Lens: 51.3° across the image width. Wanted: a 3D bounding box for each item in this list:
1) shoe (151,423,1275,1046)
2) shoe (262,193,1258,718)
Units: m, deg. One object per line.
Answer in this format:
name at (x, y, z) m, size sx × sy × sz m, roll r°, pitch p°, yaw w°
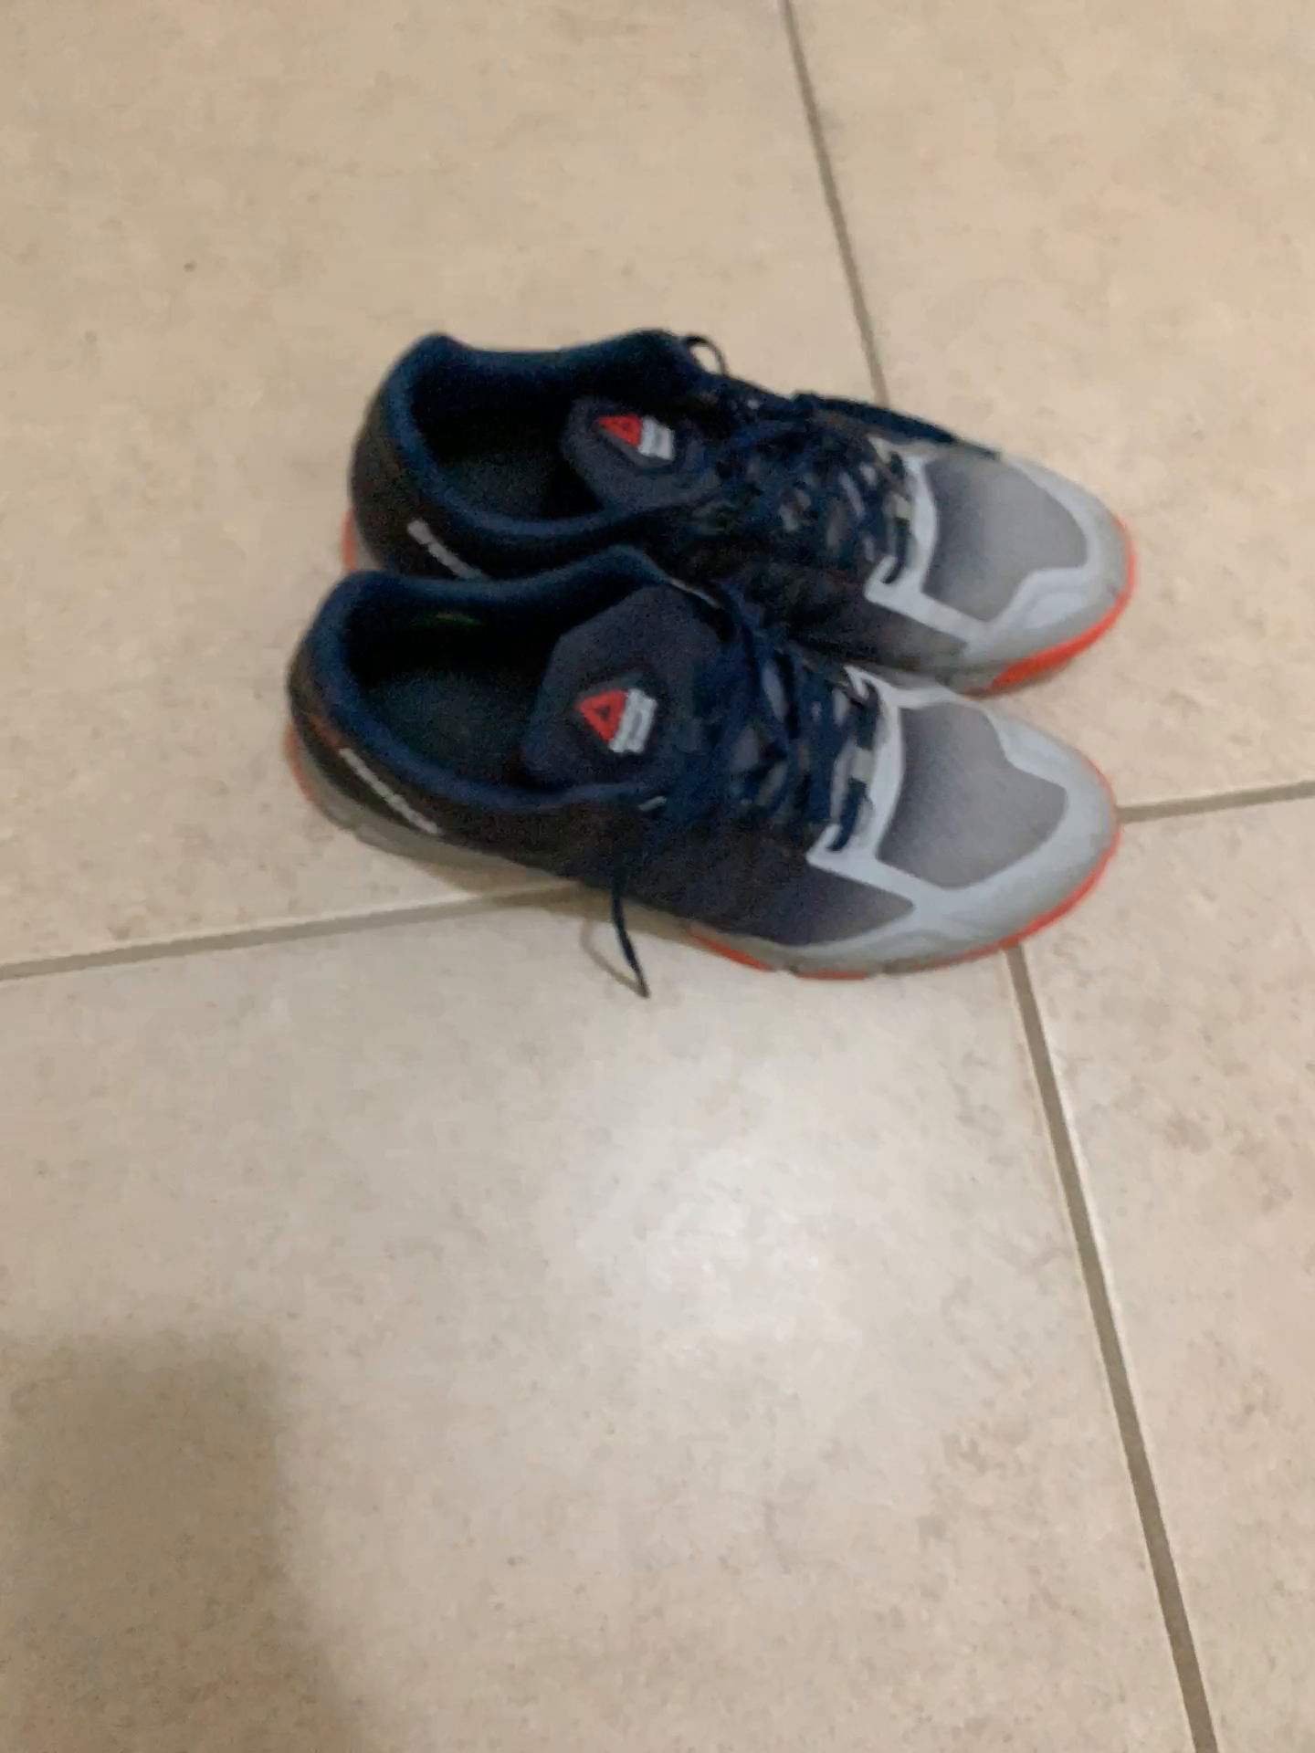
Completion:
shoe at (0.019, -0.037, 0.461) m, size 0.314 × 0.134 × 0.109 m, roll 11°, pitch 73°, yaw -1°
shoe at (0.033, -0.141, 0.489) m, size 0.304 × 0.122 × 0.104 m, roll 4°, pitch 73°, yaw -3°
